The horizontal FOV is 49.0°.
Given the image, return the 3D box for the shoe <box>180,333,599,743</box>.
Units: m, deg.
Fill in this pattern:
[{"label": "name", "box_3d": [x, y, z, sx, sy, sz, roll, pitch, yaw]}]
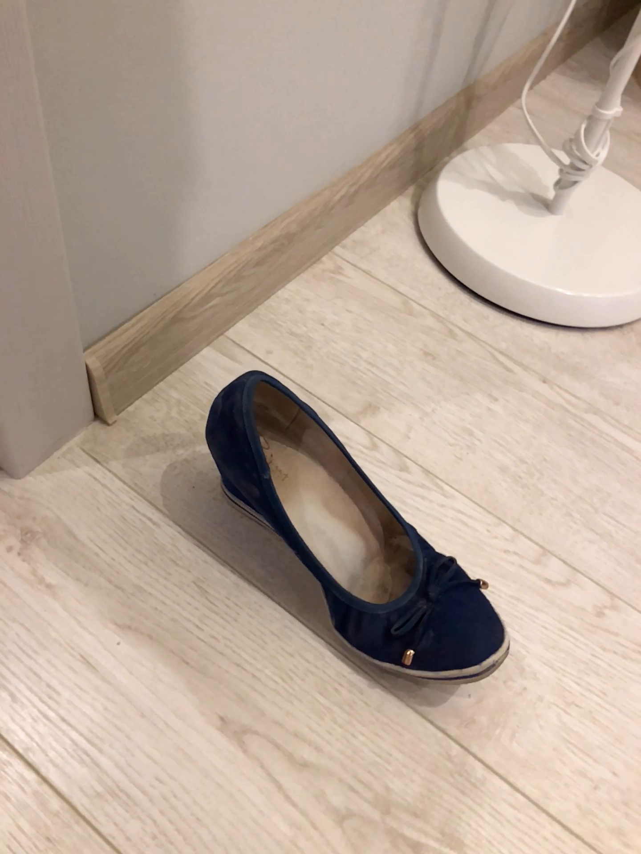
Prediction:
[{"label": "shoe", "box_3d": [0.029, 0.064, 0.444, 0.230, 0.109, 0.099, 37, 55, 18]}]
